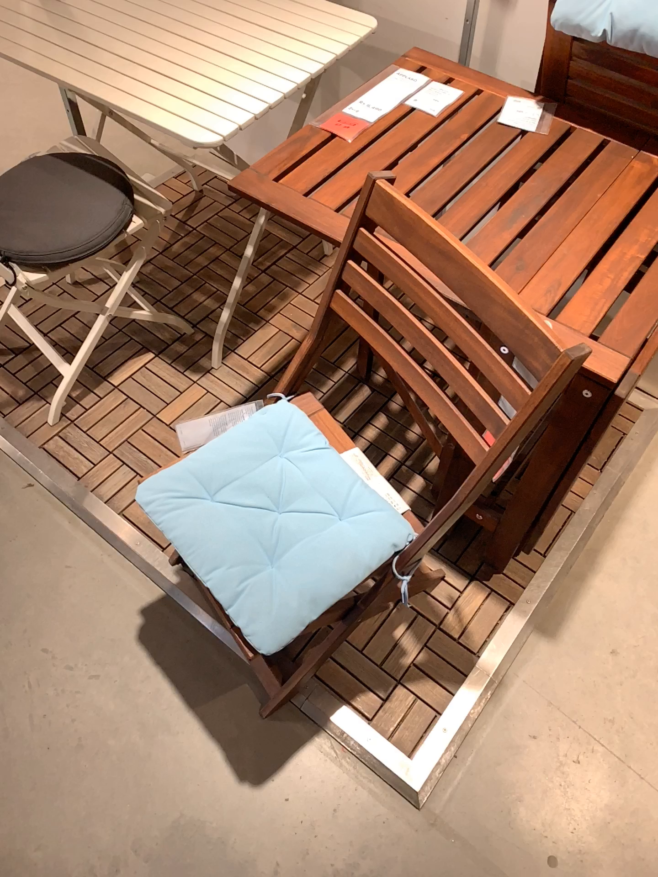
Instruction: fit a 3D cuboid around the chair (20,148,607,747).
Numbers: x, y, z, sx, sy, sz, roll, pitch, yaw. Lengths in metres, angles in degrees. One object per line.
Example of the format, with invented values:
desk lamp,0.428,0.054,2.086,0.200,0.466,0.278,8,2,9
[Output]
chair,-0.036,0.072,1.111,0.520,0.778,0.471,-28,61,-19
